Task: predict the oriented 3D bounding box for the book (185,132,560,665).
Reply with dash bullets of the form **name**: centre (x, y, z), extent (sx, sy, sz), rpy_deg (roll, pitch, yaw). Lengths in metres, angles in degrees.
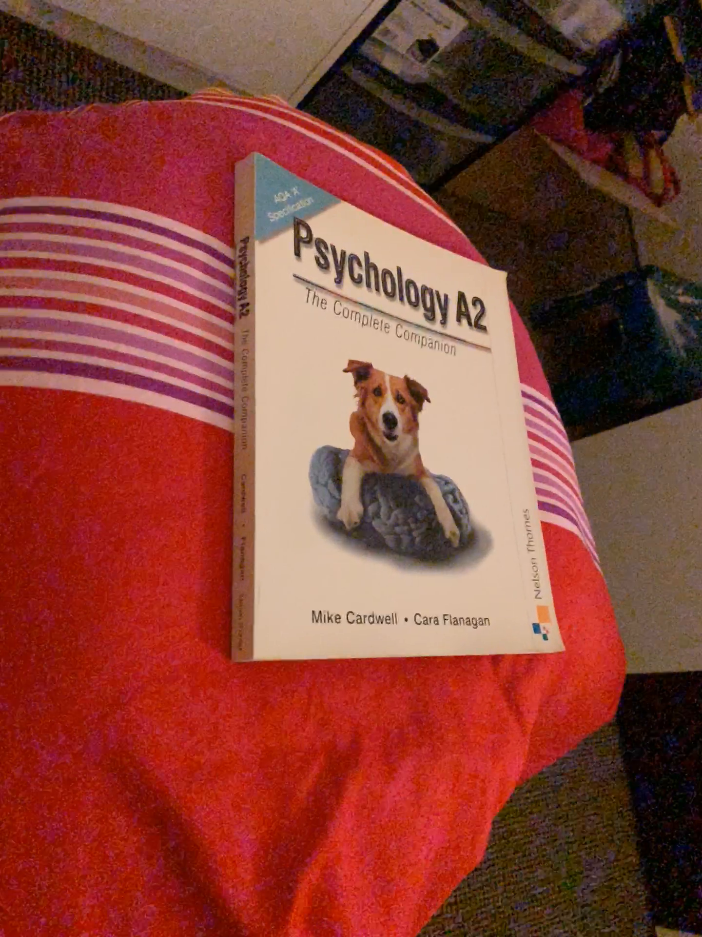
- **book**: centre (0.019, -0.031, 0.452), extent (0.241, 0.040, 0.291), rpy_deg (10, 69, -36)
